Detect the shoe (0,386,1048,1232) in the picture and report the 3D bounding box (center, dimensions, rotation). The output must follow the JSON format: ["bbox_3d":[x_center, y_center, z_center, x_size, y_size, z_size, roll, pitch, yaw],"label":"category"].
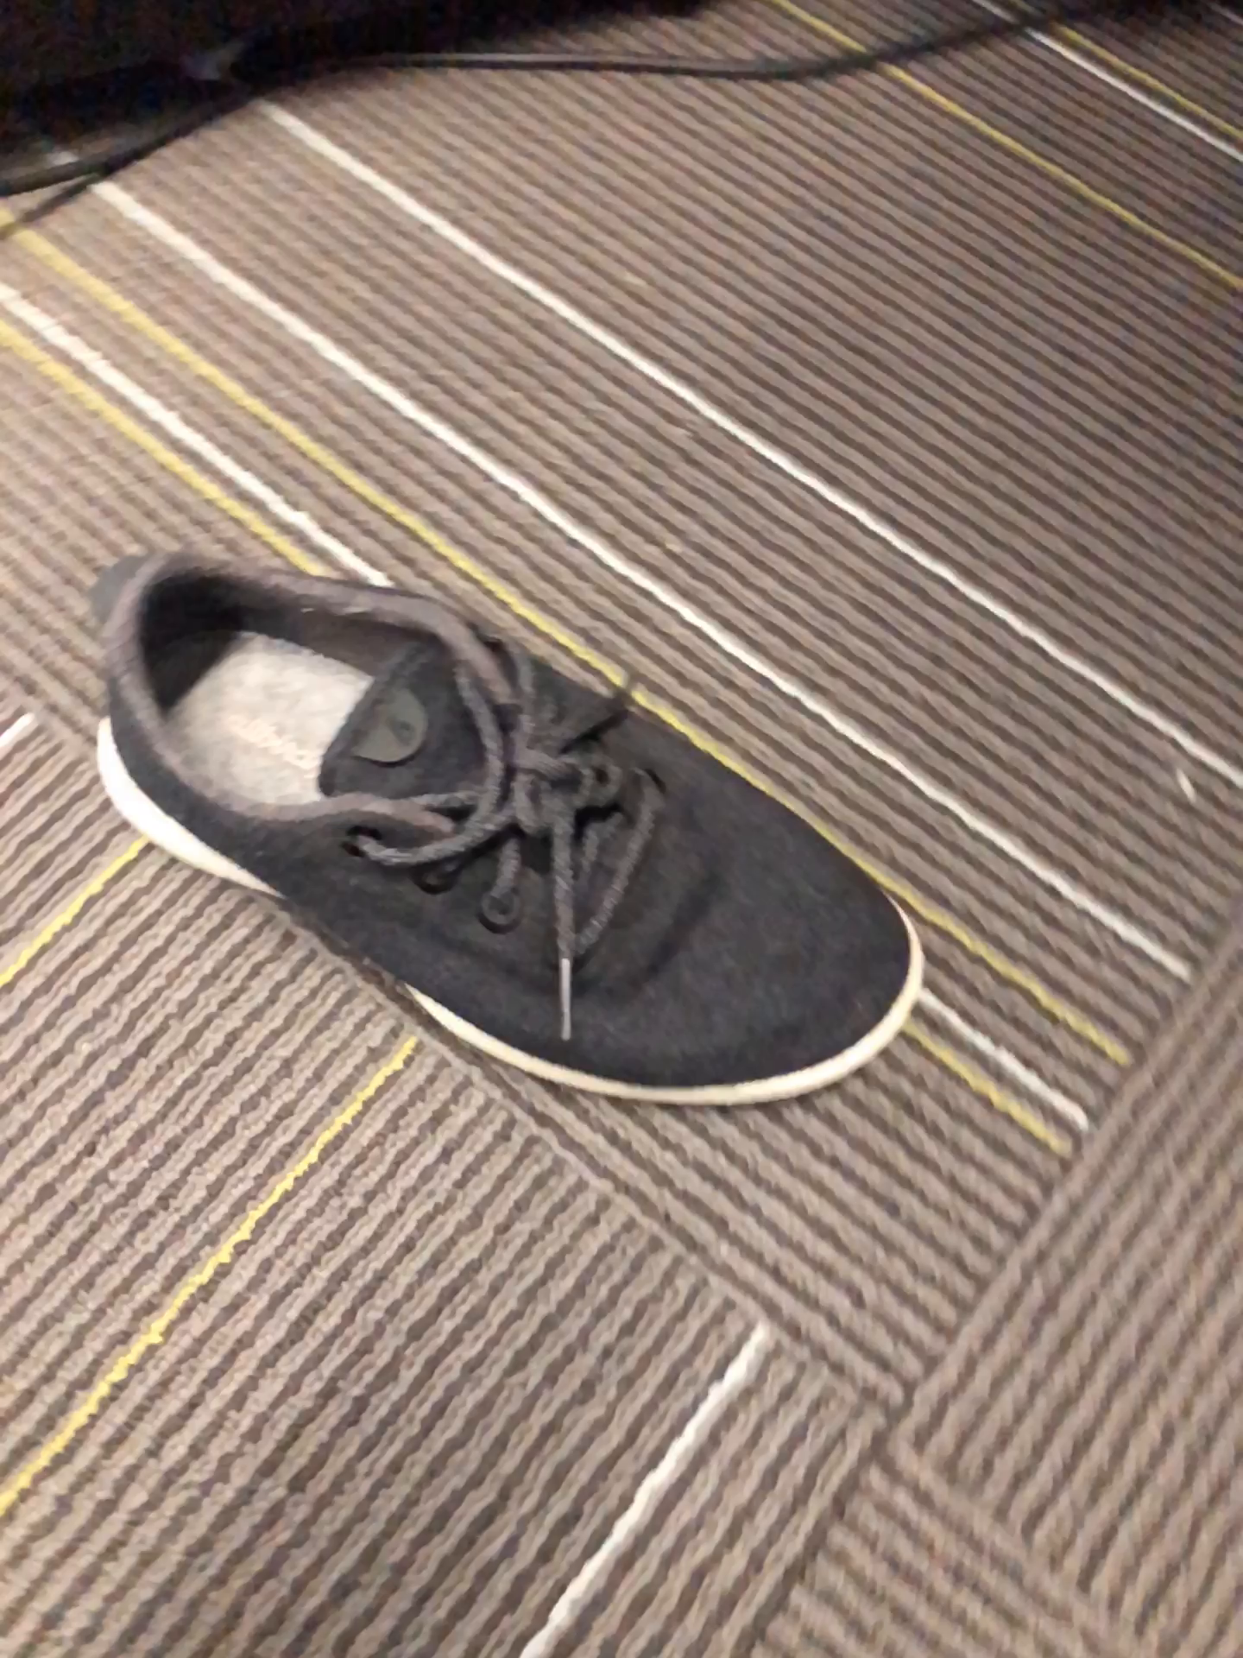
[{"bbox_3d":[-0.037,-0.008,0.391,0.270,0.070,0.120,25,68,7],"label":"shoe"}]
